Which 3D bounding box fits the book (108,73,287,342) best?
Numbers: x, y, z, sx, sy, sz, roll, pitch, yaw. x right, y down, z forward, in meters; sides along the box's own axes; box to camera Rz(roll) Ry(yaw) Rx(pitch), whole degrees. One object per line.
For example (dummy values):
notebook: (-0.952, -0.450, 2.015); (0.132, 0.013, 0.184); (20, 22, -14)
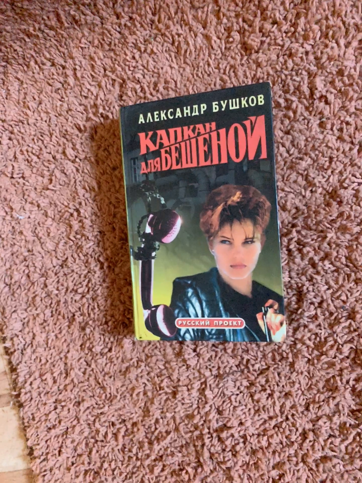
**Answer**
book: (0.012, -0.020, 0.294); (0.124, 0.027, 0.190); (-4, 91, 17)
